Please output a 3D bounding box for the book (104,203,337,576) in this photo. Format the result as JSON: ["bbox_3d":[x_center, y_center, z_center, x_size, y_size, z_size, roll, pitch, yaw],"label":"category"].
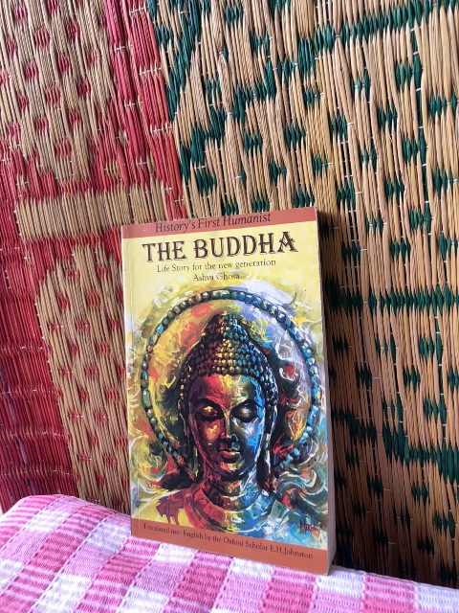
[{"bbox_3d":[-0.010,0.047,0.326,0.146,0.207,0.030,-1,0,24],"label":"book"}]
